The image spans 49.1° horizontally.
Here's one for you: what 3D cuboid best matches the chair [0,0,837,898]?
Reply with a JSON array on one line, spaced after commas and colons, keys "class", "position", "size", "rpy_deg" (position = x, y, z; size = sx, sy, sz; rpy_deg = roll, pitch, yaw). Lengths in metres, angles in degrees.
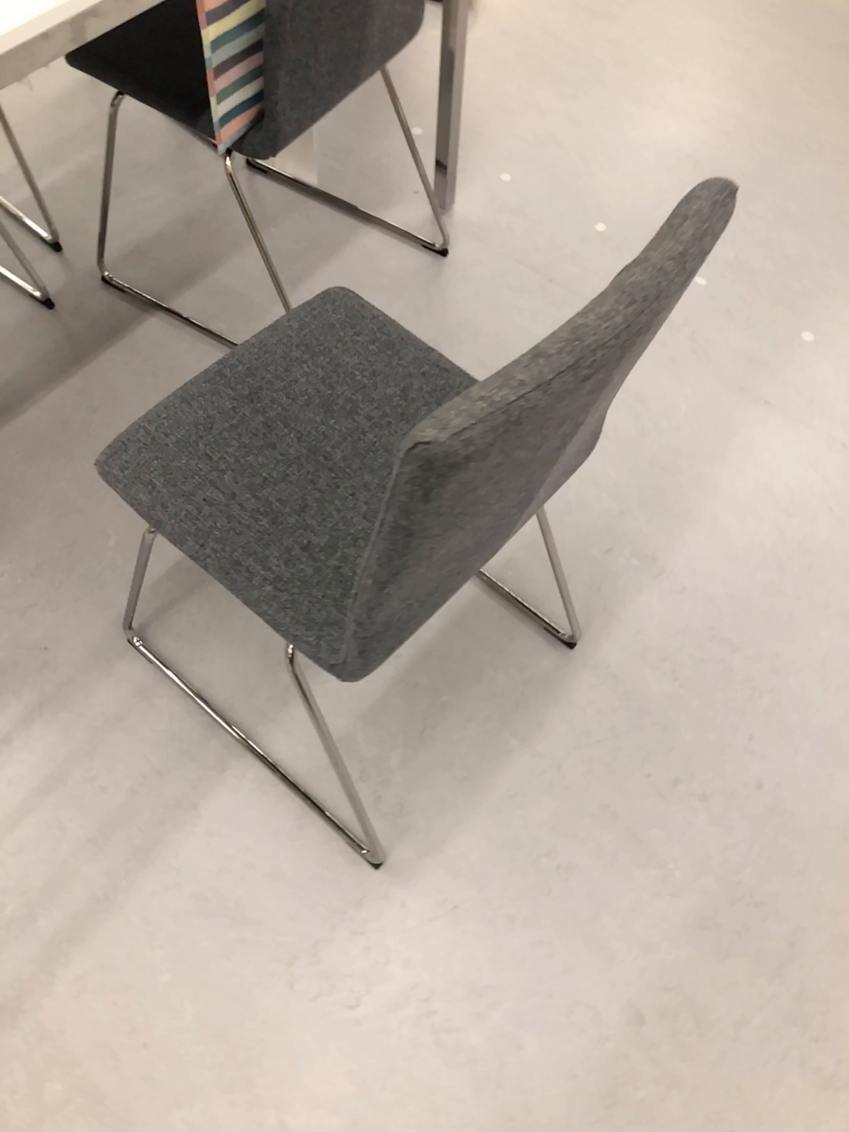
[{"class": "chair", "position": [-0.078, -0.105, 1.088], "size": [0.591, 0.836, 0.511], "rpy_deg": [38, 64, 18]}]
